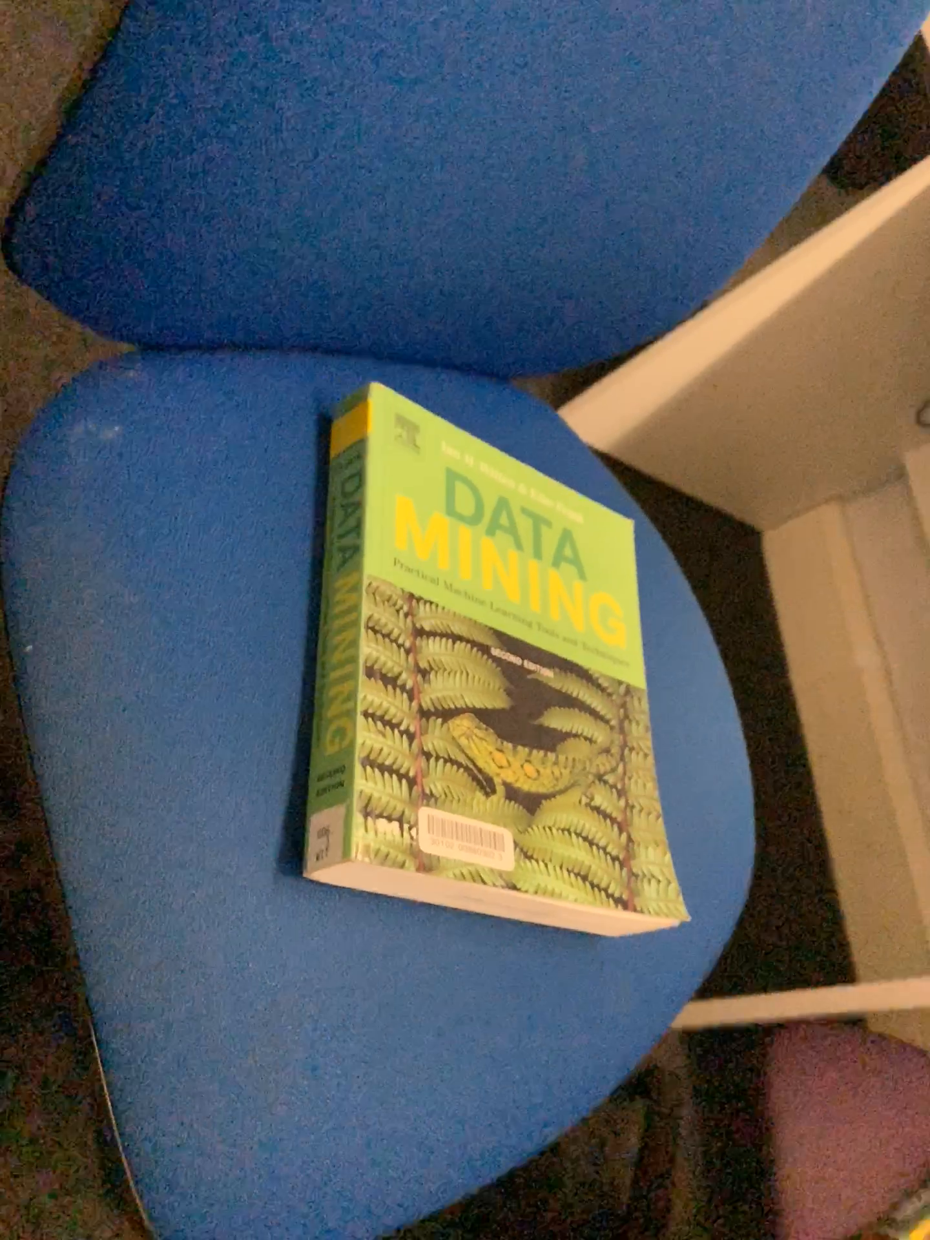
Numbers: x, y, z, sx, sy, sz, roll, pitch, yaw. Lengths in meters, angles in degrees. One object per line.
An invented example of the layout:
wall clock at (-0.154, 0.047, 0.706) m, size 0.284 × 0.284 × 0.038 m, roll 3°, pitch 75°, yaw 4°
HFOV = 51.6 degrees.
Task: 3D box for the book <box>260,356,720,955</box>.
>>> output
book at (0.022, 0.024, 0.472) m, size 0.220 × 0.050 × 0.241 m, roll 21°, pitch 55°, yaw -35°
